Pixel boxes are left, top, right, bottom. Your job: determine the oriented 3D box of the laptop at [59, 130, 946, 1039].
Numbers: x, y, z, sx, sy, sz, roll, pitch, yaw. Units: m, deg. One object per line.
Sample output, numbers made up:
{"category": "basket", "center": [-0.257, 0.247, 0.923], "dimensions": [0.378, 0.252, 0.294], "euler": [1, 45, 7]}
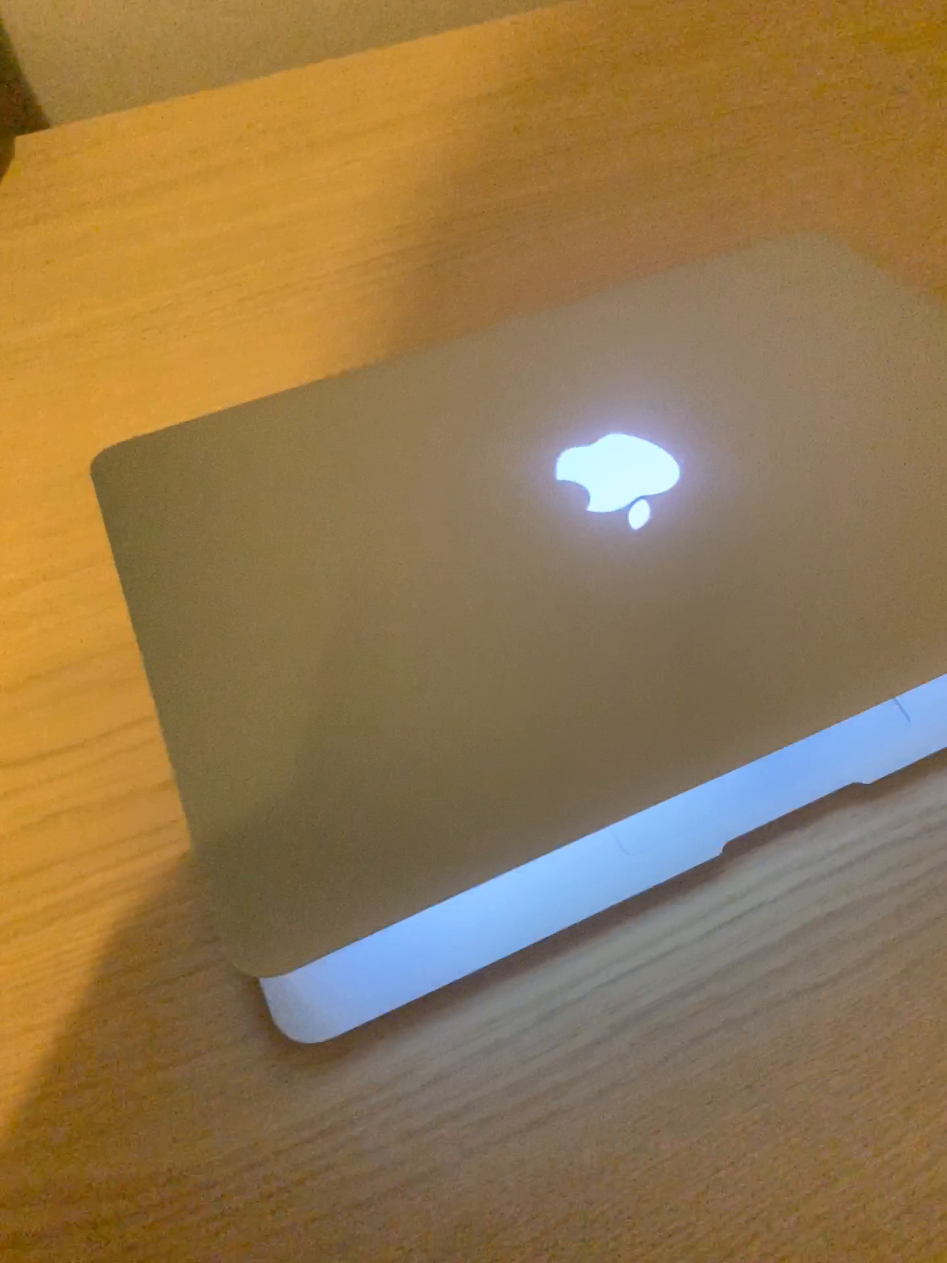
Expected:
{"category": "laptop", "center": [0.051, -0.047, 0.327], "dimensions": [0.320, 0.048, 0.219], "euler": [-22, 60, -12]}
